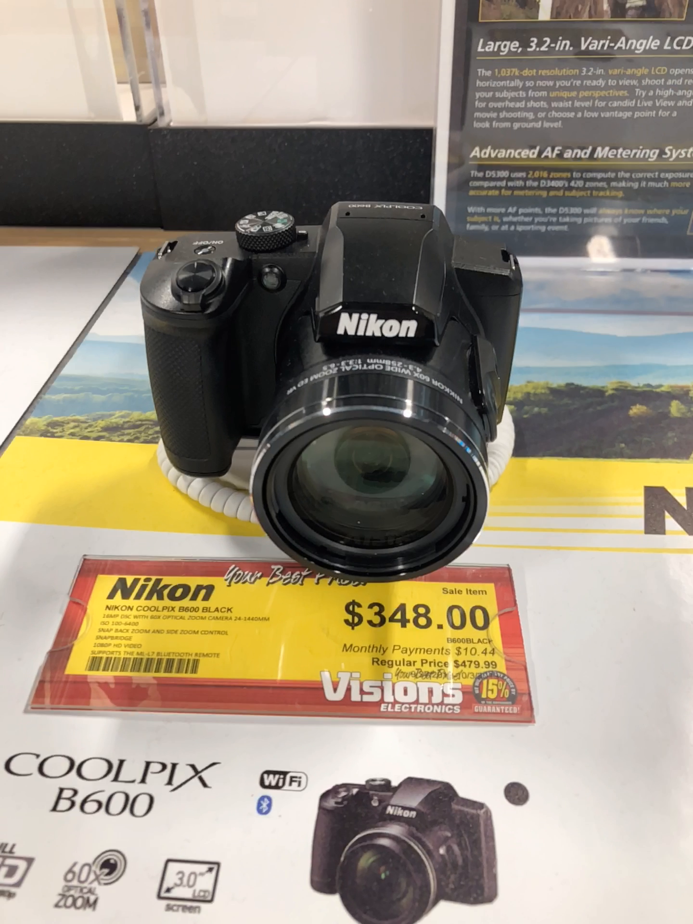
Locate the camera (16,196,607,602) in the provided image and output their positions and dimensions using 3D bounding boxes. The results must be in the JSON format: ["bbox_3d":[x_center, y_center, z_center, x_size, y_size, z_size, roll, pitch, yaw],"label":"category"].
[{"bbox_3d":[-0.004,-0.026,0.232,0.130,0.070,0.111,2,38,5],"label":"camera"}]
